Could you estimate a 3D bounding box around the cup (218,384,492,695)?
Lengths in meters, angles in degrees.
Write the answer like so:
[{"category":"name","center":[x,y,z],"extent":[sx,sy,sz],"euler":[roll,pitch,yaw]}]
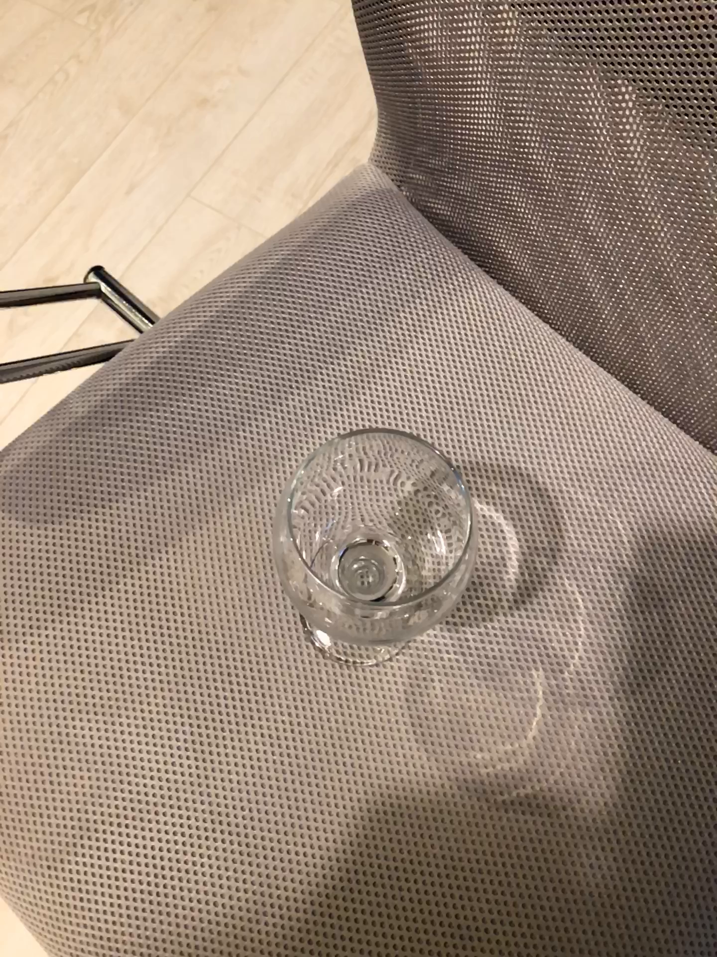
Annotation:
[{"category":"cup","center":[0.006,0.040,0.351],"extent":[0.080,0.173,0.088],"euler":[8,72,6]}]
